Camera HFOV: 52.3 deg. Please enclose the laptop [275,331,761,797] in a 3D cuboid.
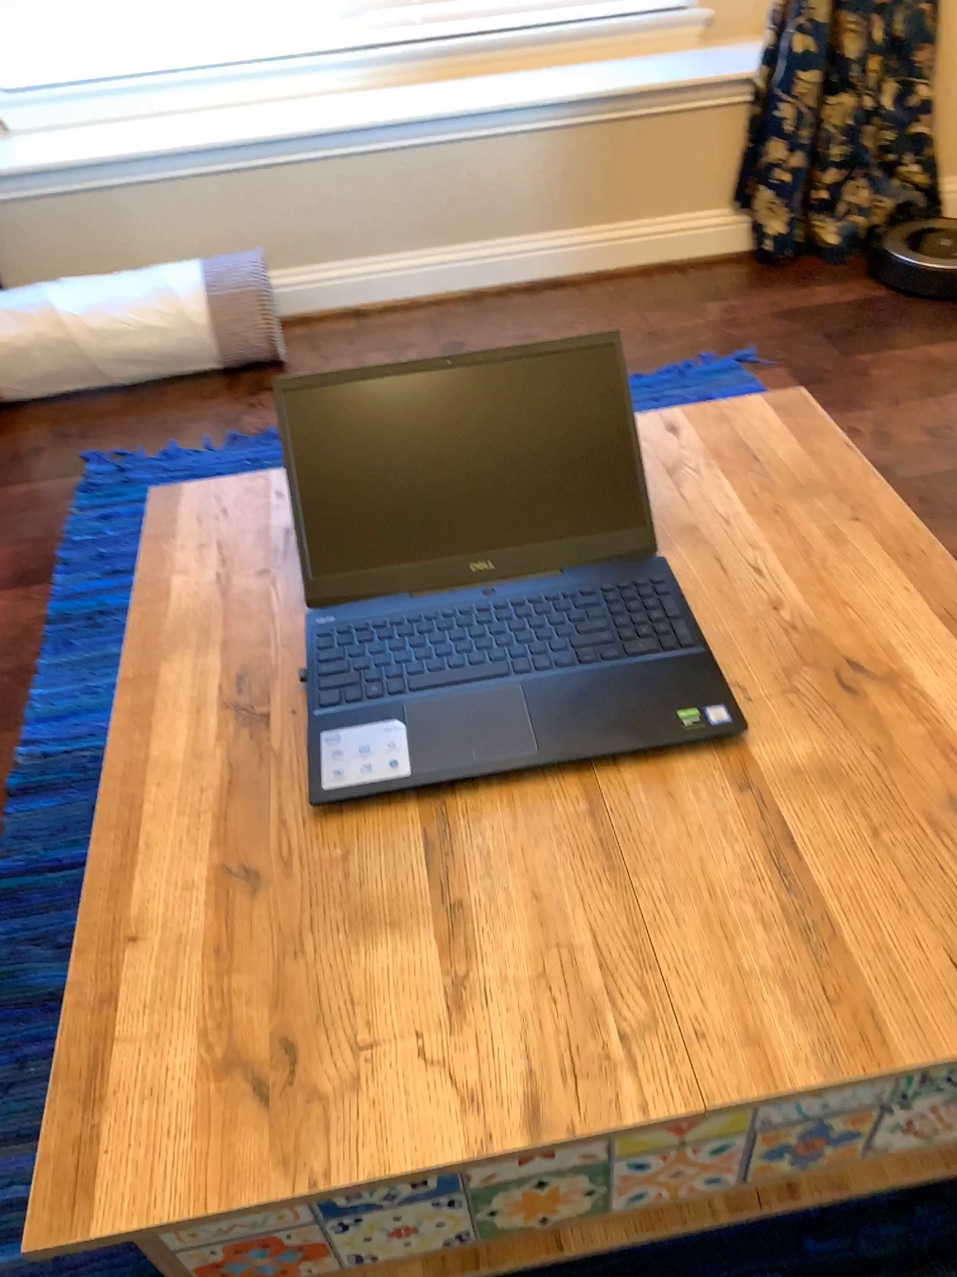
[{"bbox_3d":[0.007,-0.095,0.891,0.345,0.156,0.420,-9,41,-3],"label":"laptop"}]
